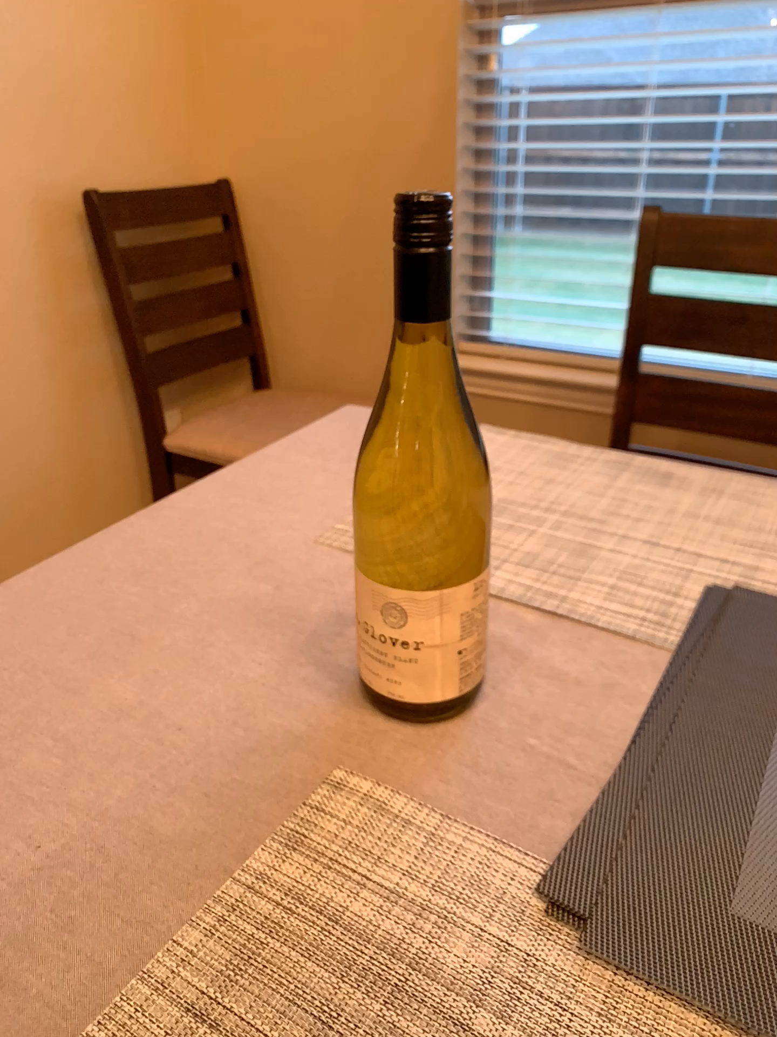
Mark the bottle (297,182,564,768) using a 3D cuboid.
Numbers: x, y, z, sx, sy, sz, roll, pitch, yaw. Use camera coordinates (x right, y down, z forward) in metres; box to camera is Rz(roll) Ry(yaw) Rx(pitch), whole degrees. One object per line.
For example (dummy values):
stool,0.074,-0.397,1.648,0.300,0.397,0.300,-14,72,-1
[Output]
bottle,0.022,-0.021,0.449,0.090,0.298,0.090,-1,26,0
